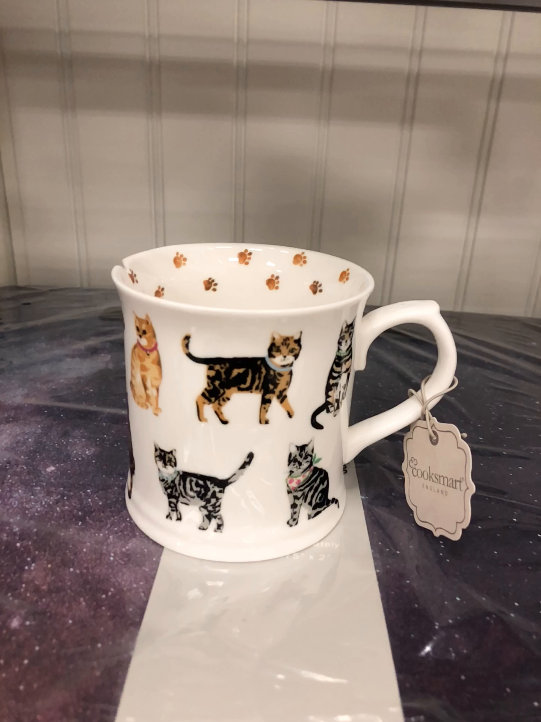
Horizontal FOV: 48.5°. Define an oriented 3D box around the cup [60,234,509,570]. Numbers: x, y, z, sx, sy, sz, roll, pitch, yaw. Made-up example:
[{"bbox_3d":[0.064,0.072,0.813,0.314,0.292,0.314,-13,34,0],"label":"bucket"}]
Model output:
[{"bbox_3d":[0.002,0.011,0.246,0.137,0.099,0.096,2,24,-2],"label":"cup"}]
